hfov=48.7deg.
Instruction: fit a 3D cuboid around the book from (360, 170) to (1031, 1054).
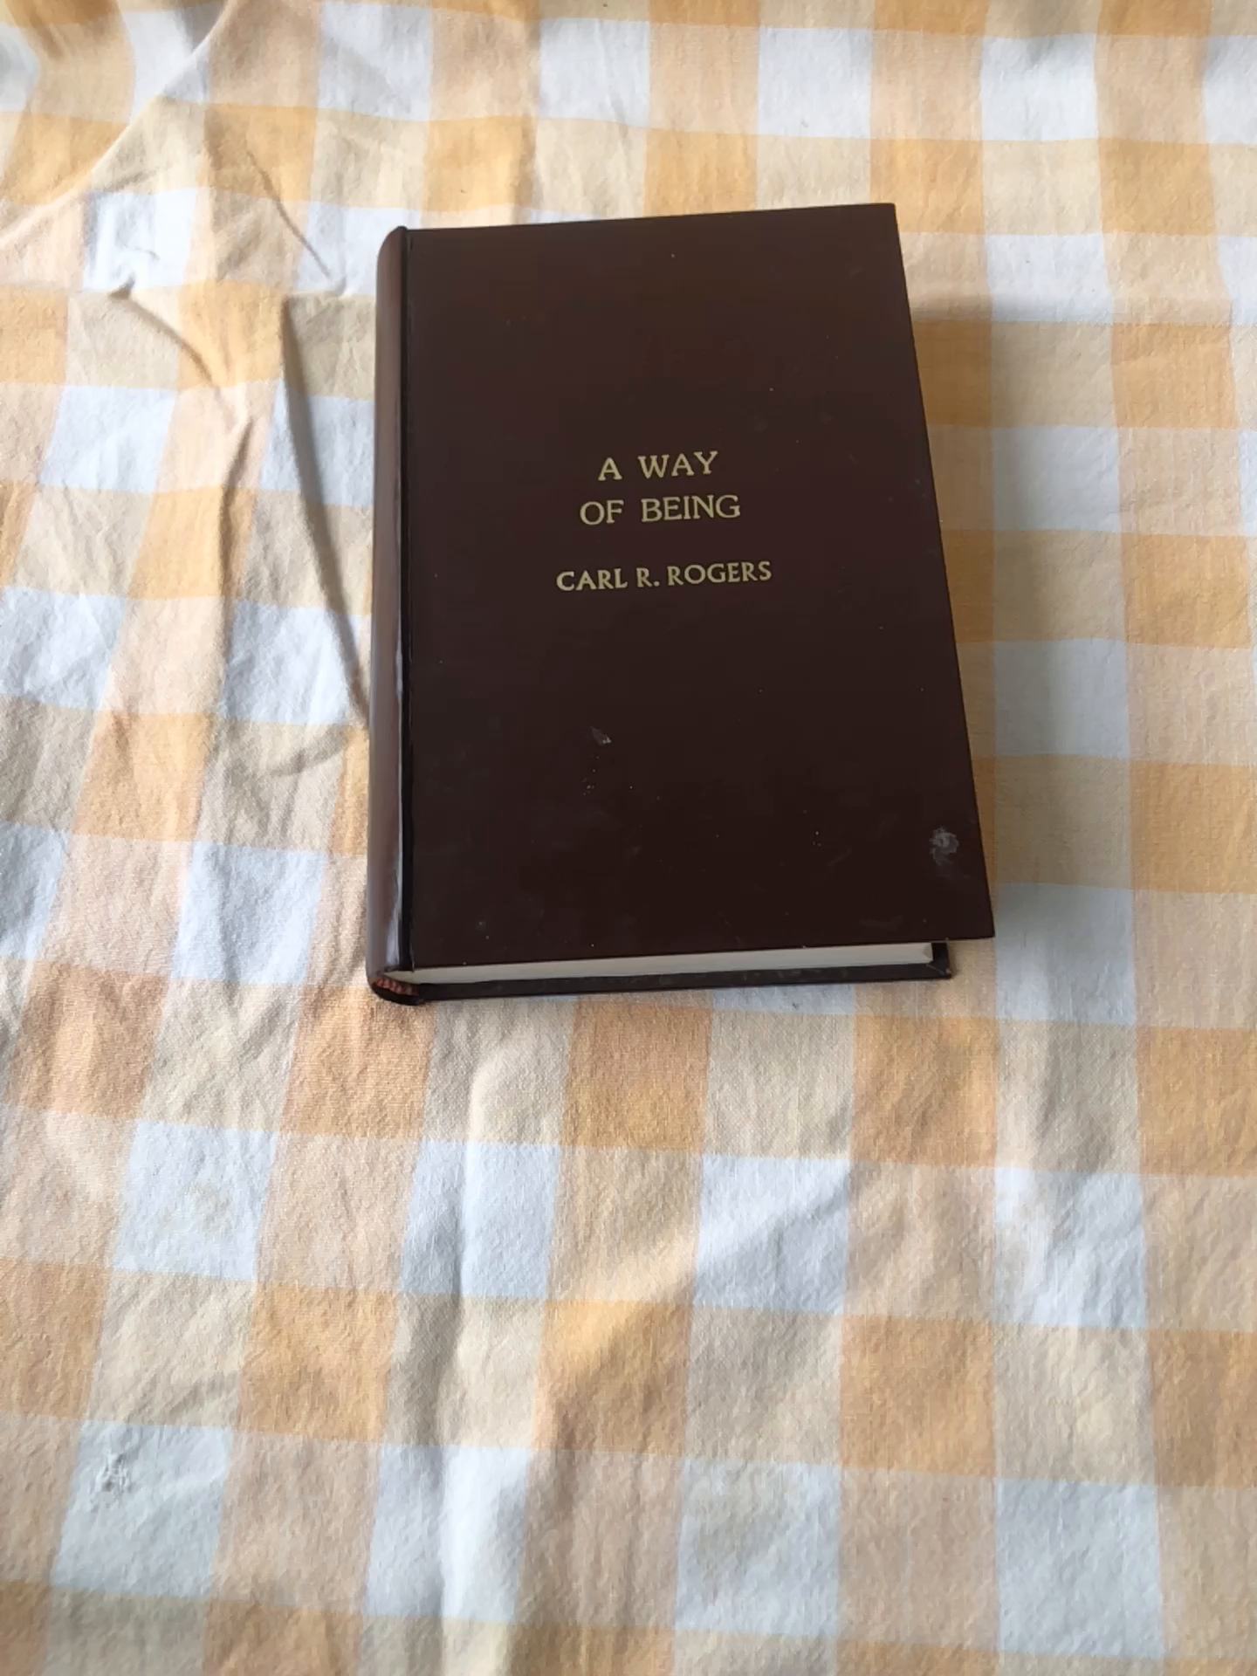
[{"bbox_3d":[0.009,-0.059,0.352,0.140,0.060,0.210,-3,71,0],"label":"book"}]
